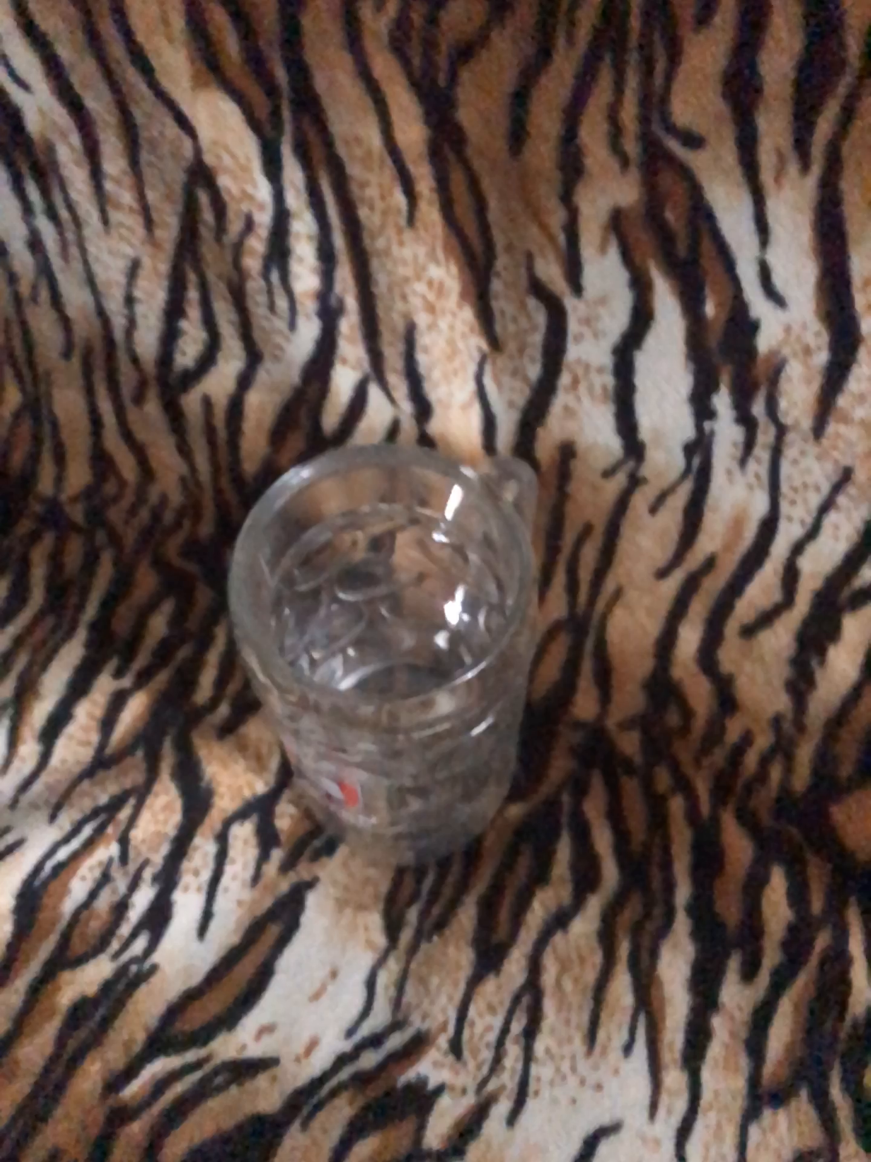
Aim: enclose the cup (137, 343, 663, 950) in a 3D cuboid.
[{"bbox_3d":[-0.007,0.037,0.423,0.121,0.195,0.150,30,62,20],"label":"cup"}]
